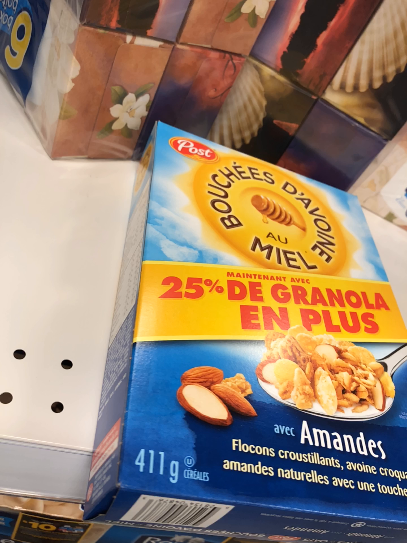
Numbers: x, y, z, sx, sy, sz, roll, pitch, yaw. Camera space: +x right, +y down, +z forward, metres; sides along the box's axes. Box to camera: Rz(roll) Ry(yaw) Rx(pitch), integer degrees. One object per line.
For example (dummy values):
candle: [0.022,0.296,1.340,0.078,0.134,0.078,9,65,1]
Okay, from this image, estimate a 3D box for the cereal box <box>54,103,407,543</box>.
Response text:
cereal box: [0.043,0.019,0.298,0.210,0.050,0.271,17,45,-18]
